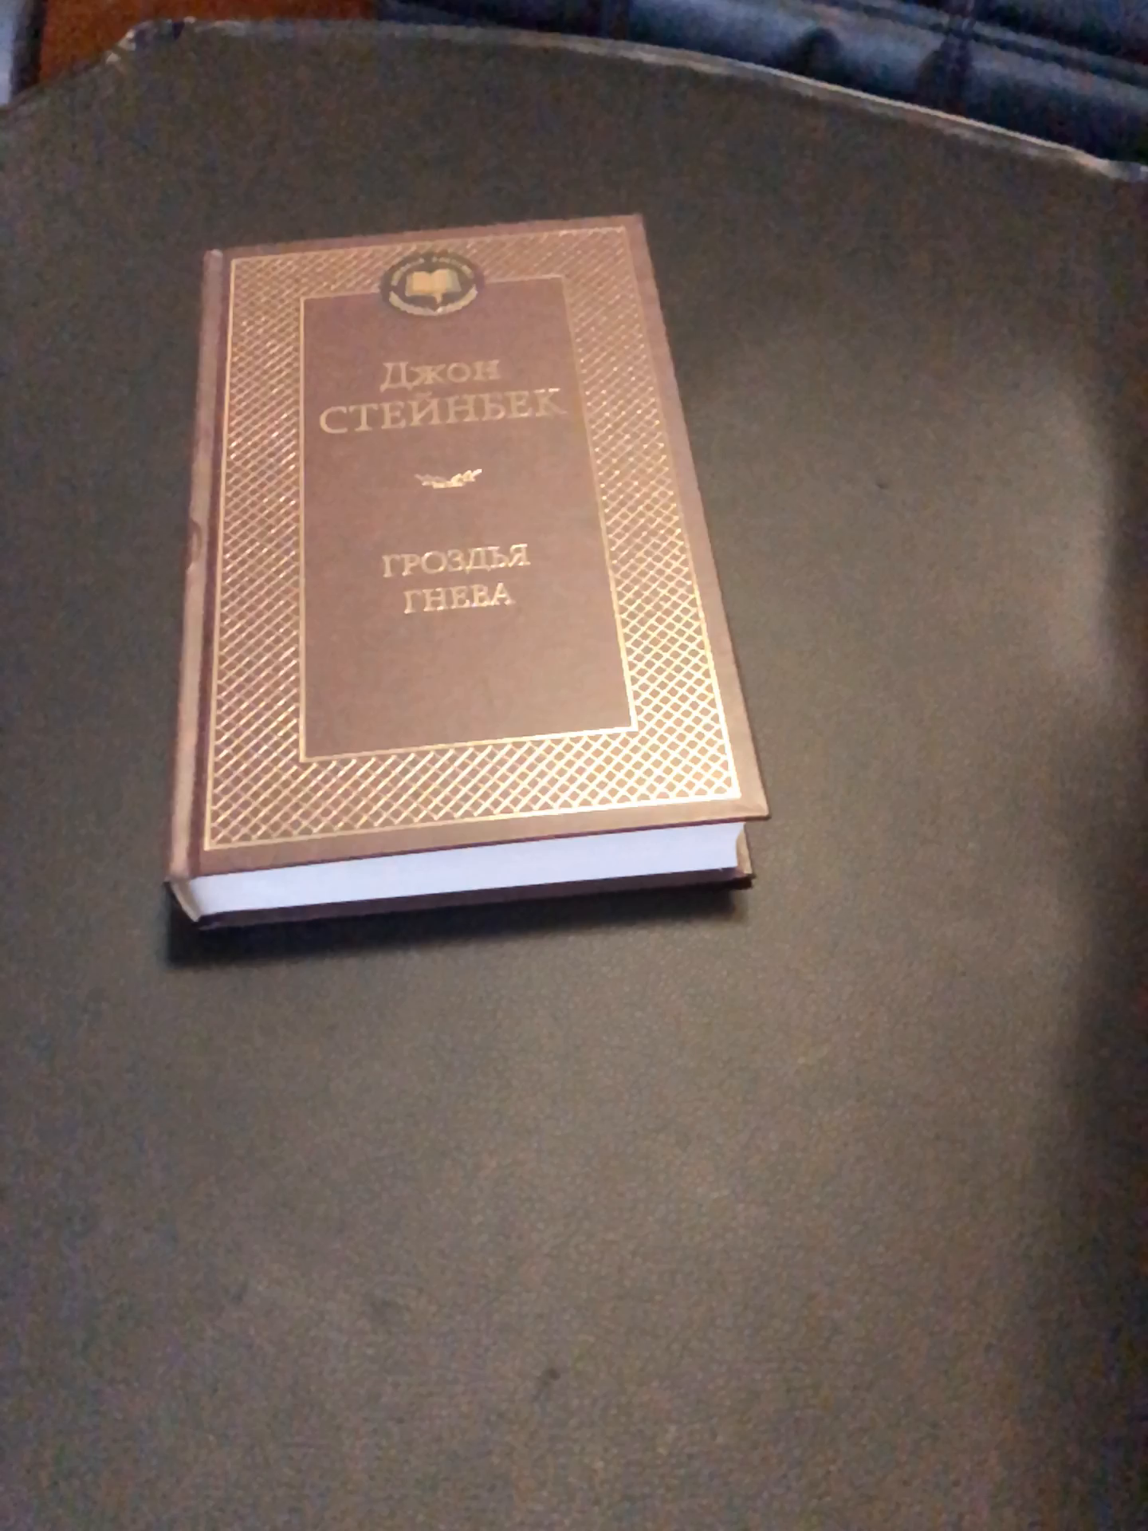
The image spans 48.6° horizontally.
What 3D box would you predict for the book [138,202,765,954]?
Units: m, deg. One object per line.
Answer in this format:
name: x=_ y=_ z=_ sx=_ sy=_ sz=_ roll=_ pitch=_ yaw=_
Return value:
book: x=-0.035 y=-0.059 z=0.330 sx=0.130 sy=0.040 sz=0.200 roll=-6 pitch=61 yaw=-3
